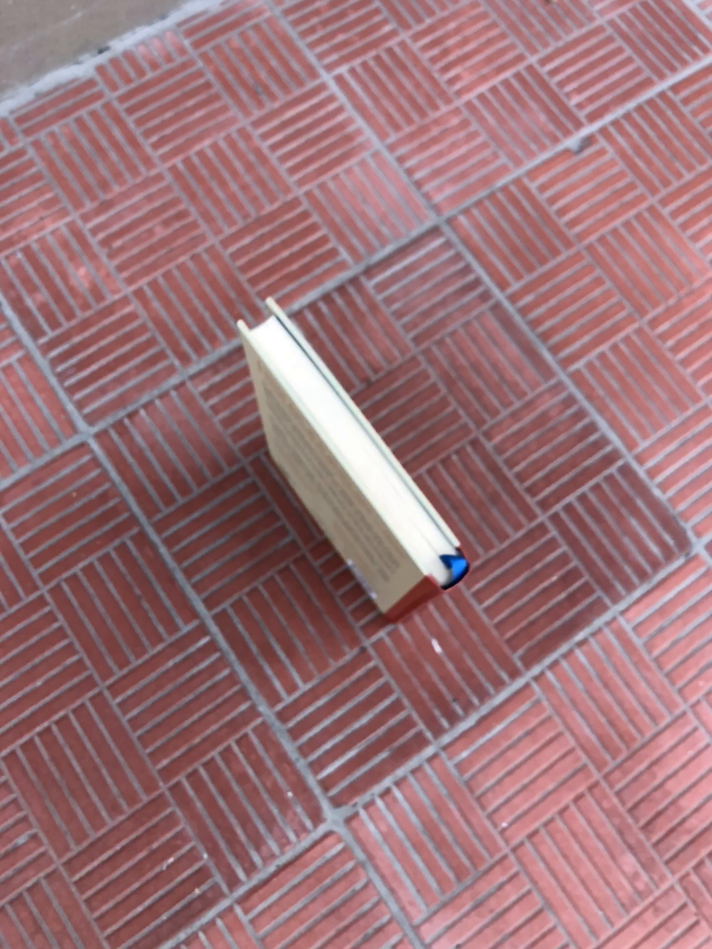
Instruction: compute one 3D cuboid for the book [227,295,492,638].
[{"bbox_3d":[-0.004,0.013,0.411,0.025,0.197,0.144,-35,79,-10],"label":"book"}]
